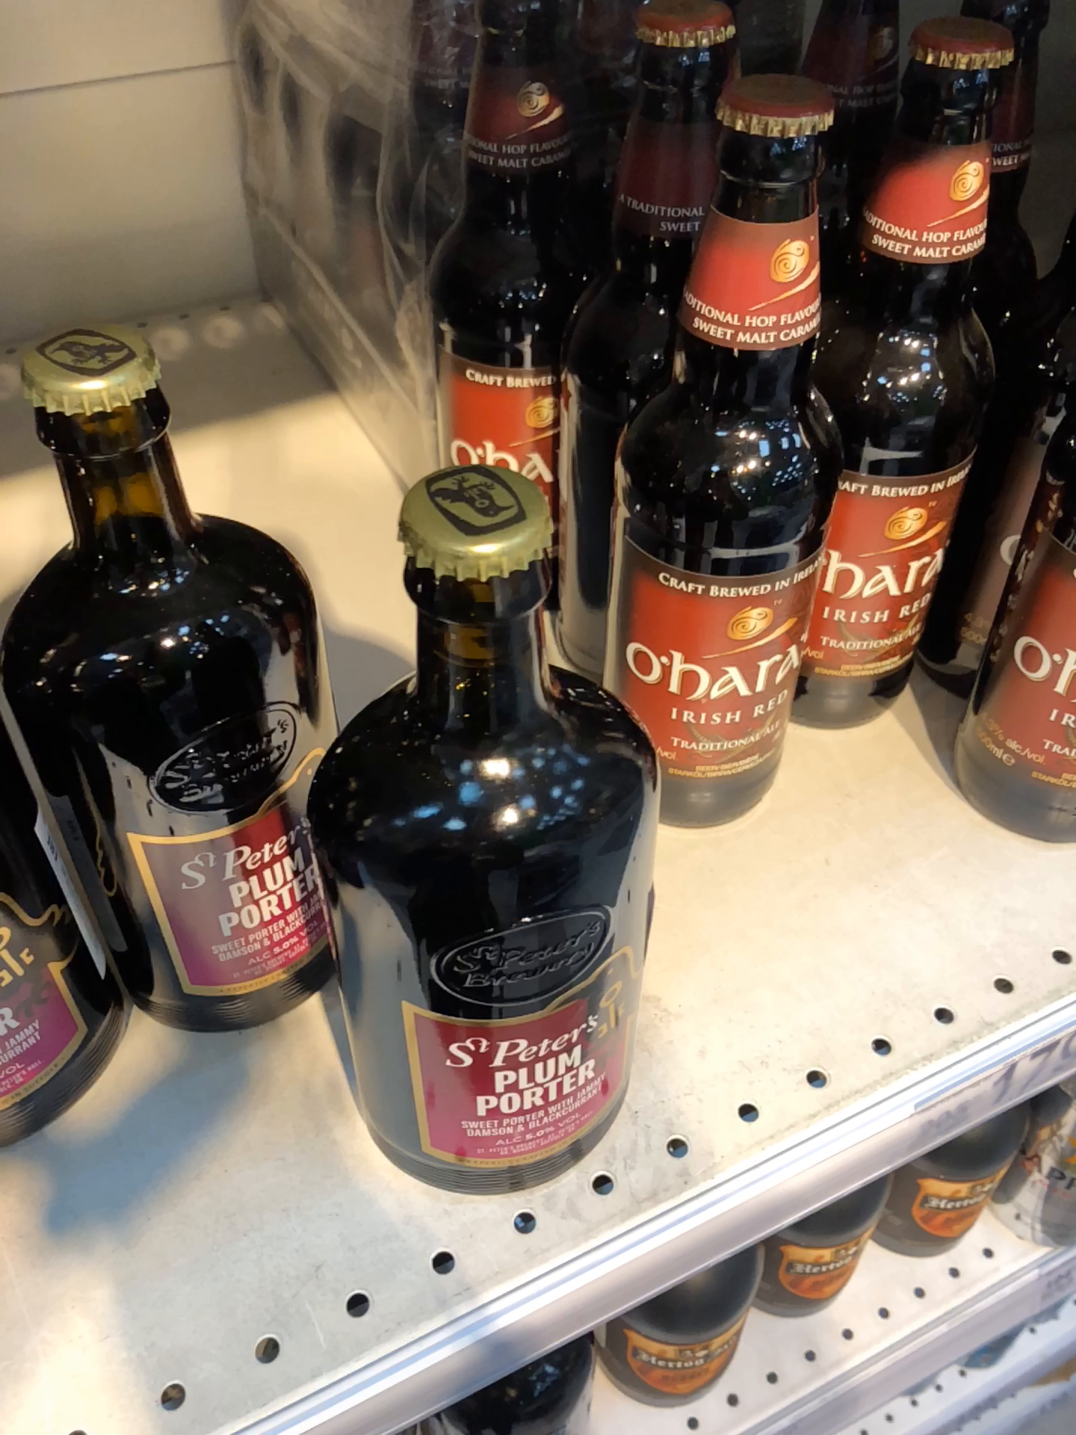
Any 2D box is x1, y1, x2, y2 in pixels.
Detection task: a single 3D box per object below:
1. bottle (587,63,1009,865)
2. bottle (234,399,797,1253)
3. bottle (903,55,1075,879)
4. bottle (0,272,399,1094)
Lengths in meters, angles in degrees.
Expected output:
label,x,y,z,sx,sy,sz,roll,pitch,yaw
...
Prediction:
label,x,y,z,sx,sy,sz,roll,pitch,yaw
bottle,0.062,-0.060,0.365,0.071,0.231,0.070,0,45,0
bottle,-0.006,0.041,0.281,0.082,0.209,0.058,-16,47,-16
bottle,0.184,-0.057,0.359,0.074,0.235,0.070,0,45,0
bottle,-0.098,0.004,0.327,0.079,0.213,0.070,-25,50,-23
